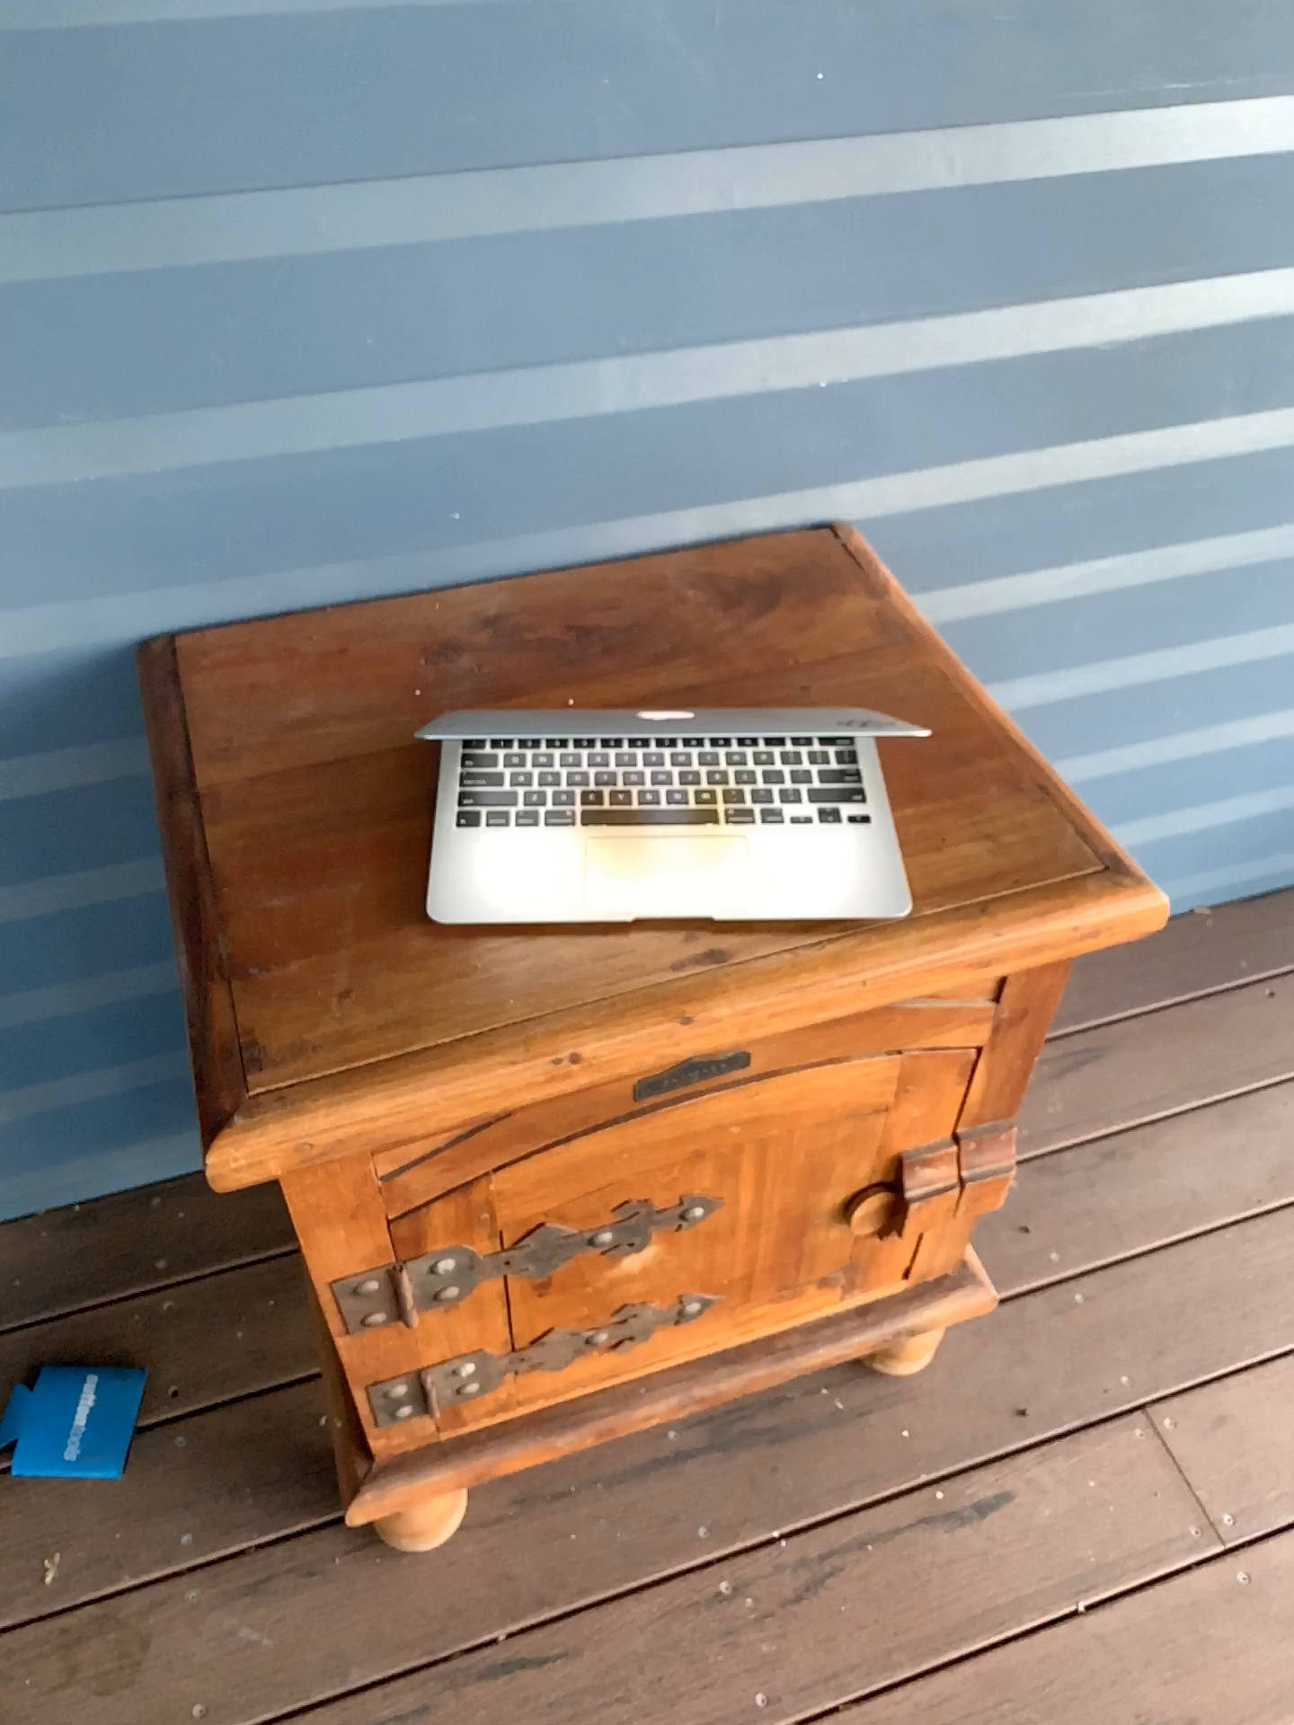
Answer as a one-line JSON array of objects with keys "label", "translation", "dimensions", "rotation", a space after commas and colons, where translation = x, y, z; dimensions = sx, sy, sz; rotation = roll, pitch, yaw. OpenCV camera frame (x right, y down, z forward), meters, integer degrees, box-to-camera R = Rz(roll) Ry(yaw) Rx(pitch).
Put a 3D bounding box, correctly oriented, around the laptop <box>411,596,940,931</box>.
[{"label": "laptop", "translation": [0.012, -0.064, 0.806], "dimensions": [0.282, 0.099, 0.181], "rotation": [-1, 46, -2]}]
